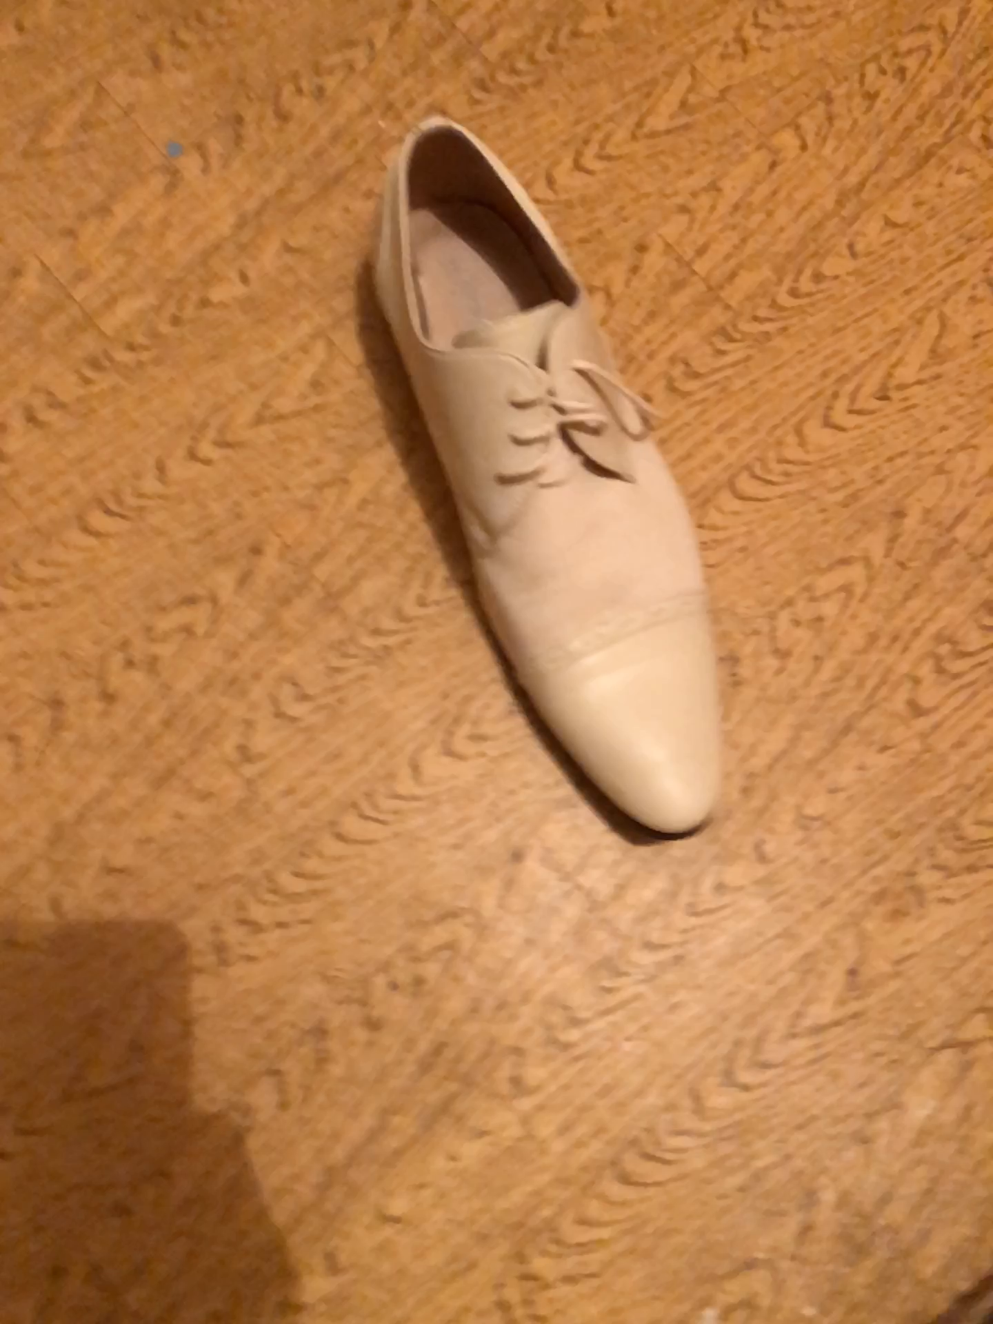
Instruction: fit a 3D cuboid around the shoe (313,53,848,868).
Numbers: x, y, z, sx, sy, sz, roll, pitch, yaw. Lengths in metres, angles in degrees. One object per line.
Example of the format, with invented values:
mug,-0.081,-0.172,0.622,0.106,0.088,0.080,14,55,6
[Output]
shoe,0.024,-0.080,0.463,0.100,0.100,0.310,-19,79,-7
